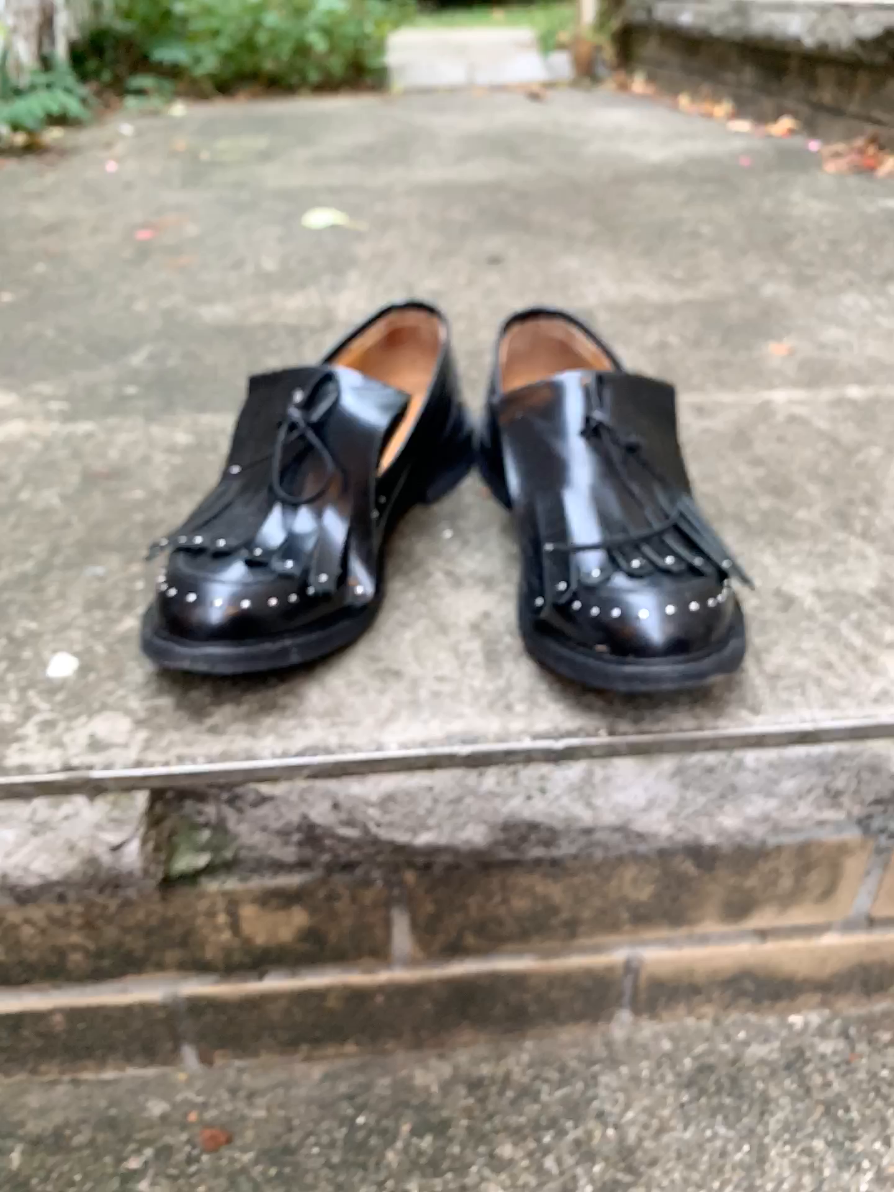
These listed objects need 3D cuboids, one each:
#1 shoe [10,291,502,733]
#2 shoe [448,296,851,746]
[{"bbox_3d":[-0.057,-0.058,0.413,0.094,0.080,0.247,9,34,18],"label":"shoe"},{"bbox_3d":[0.062,-0.053,0.407,0.093,0.080,0.250,-4,33,-6],"label":"shoe"}]
